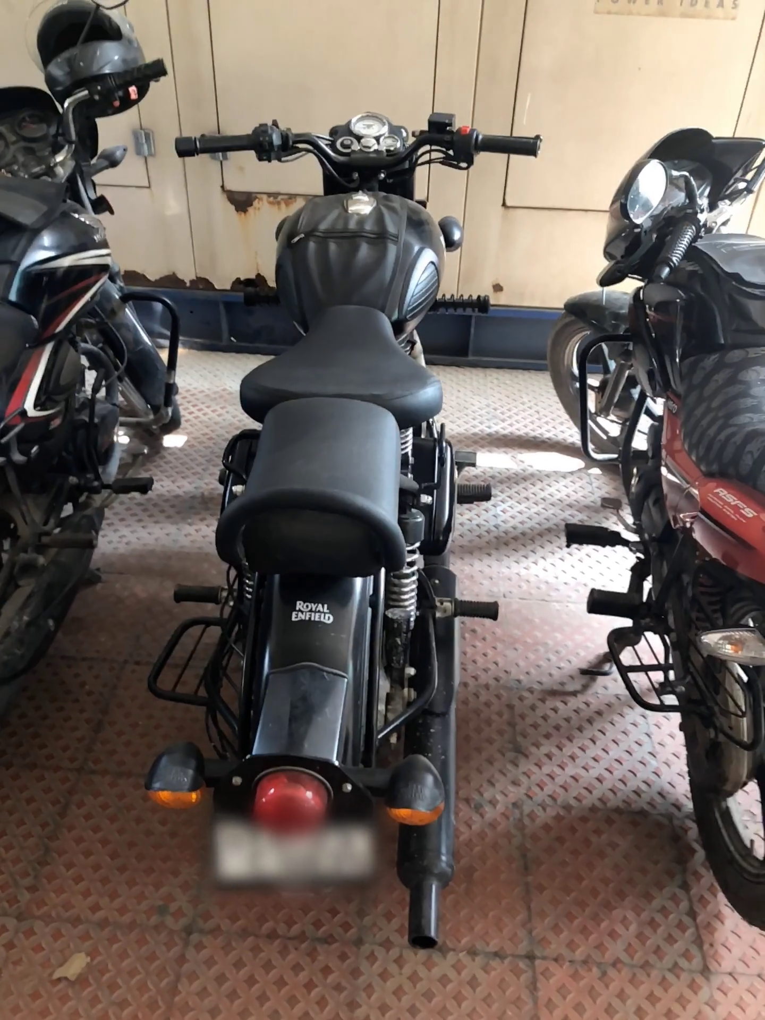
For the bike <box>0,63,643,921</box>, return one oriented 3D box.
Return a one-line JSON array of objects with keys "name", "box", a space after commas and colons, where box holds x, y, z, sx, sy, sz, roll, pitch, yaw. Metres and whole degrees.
[{"name": "bike", "box": [-0.120, -0.236, 1.772, 0.708, 0.919, 1.696, 2, 38, -1]}]
